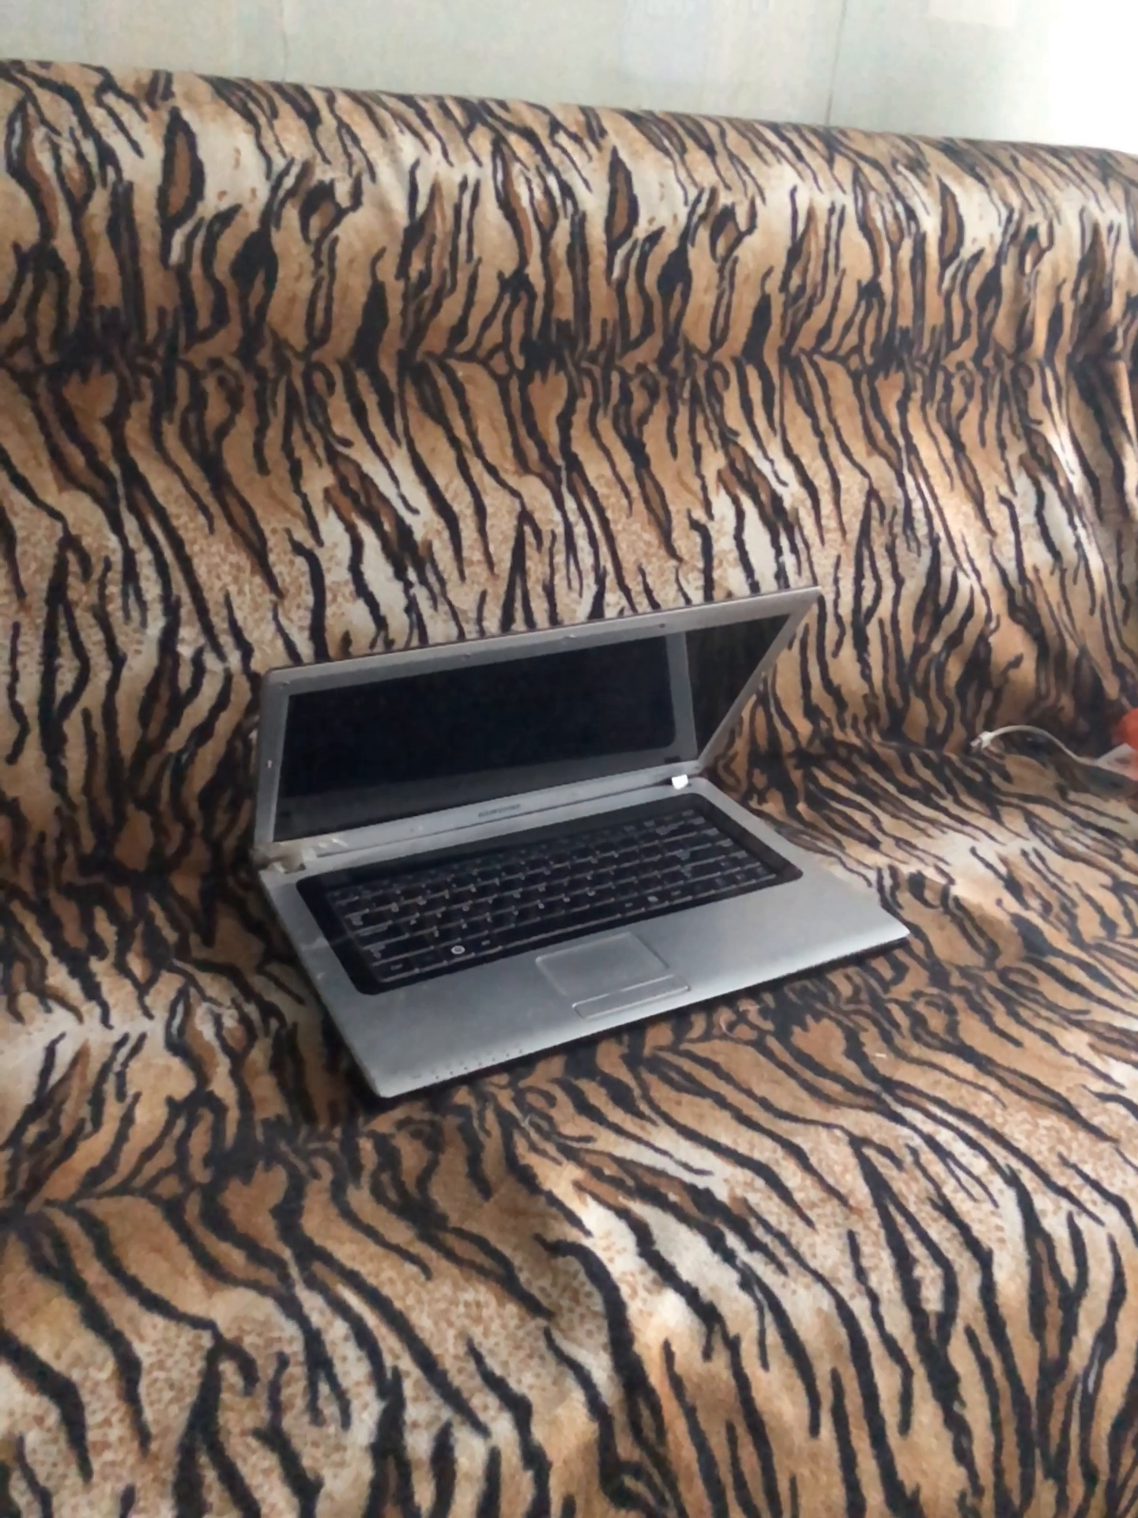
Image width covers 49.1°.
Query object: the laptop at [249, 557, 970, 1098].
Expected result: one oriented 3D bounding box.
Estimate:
[{"bbox_3d":[0.011,0.014,0.771,0.351,0.179,0.239,-11,30,-26],"label":"laptop"}]
